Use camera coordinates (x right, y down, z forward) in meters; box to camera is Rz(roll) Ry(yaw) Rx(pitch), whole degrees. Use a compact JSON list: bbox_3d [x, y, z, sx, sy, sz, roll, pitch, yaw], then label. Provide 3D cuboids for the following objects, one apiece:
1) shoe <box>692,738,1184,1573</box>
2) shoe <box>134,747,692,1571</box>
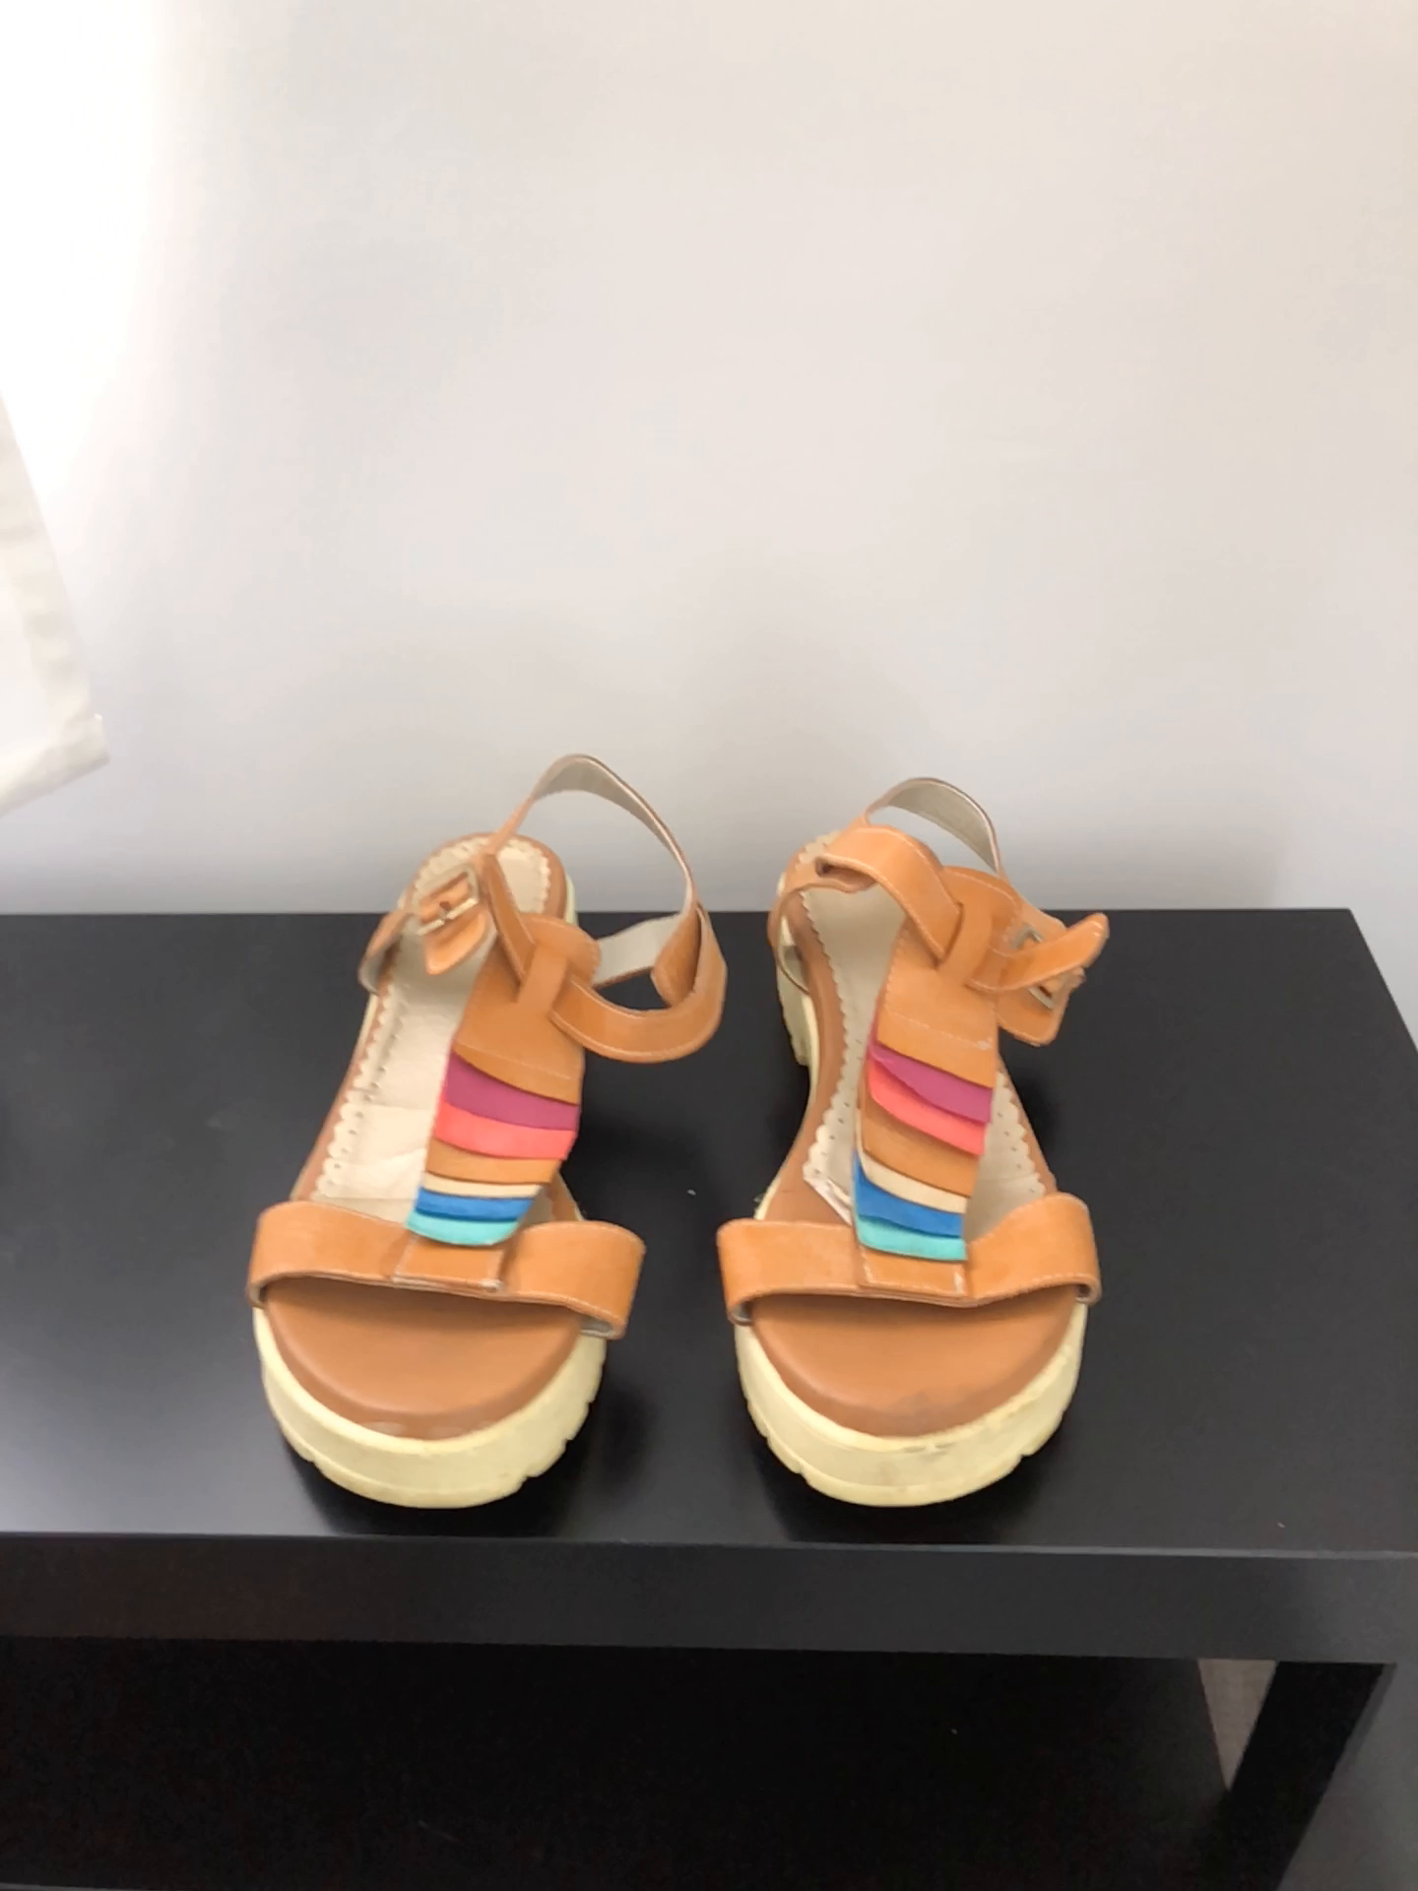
[{"bbox_3d":[0.055,0.039,0.441,0.100,0.077,0.248,1,38,4],"label":"shoe"},{"bbox_3d":[-0.065,0.042,0.456,0.100,0.083,0.248,1,38,4],"label":"shoe"}]
